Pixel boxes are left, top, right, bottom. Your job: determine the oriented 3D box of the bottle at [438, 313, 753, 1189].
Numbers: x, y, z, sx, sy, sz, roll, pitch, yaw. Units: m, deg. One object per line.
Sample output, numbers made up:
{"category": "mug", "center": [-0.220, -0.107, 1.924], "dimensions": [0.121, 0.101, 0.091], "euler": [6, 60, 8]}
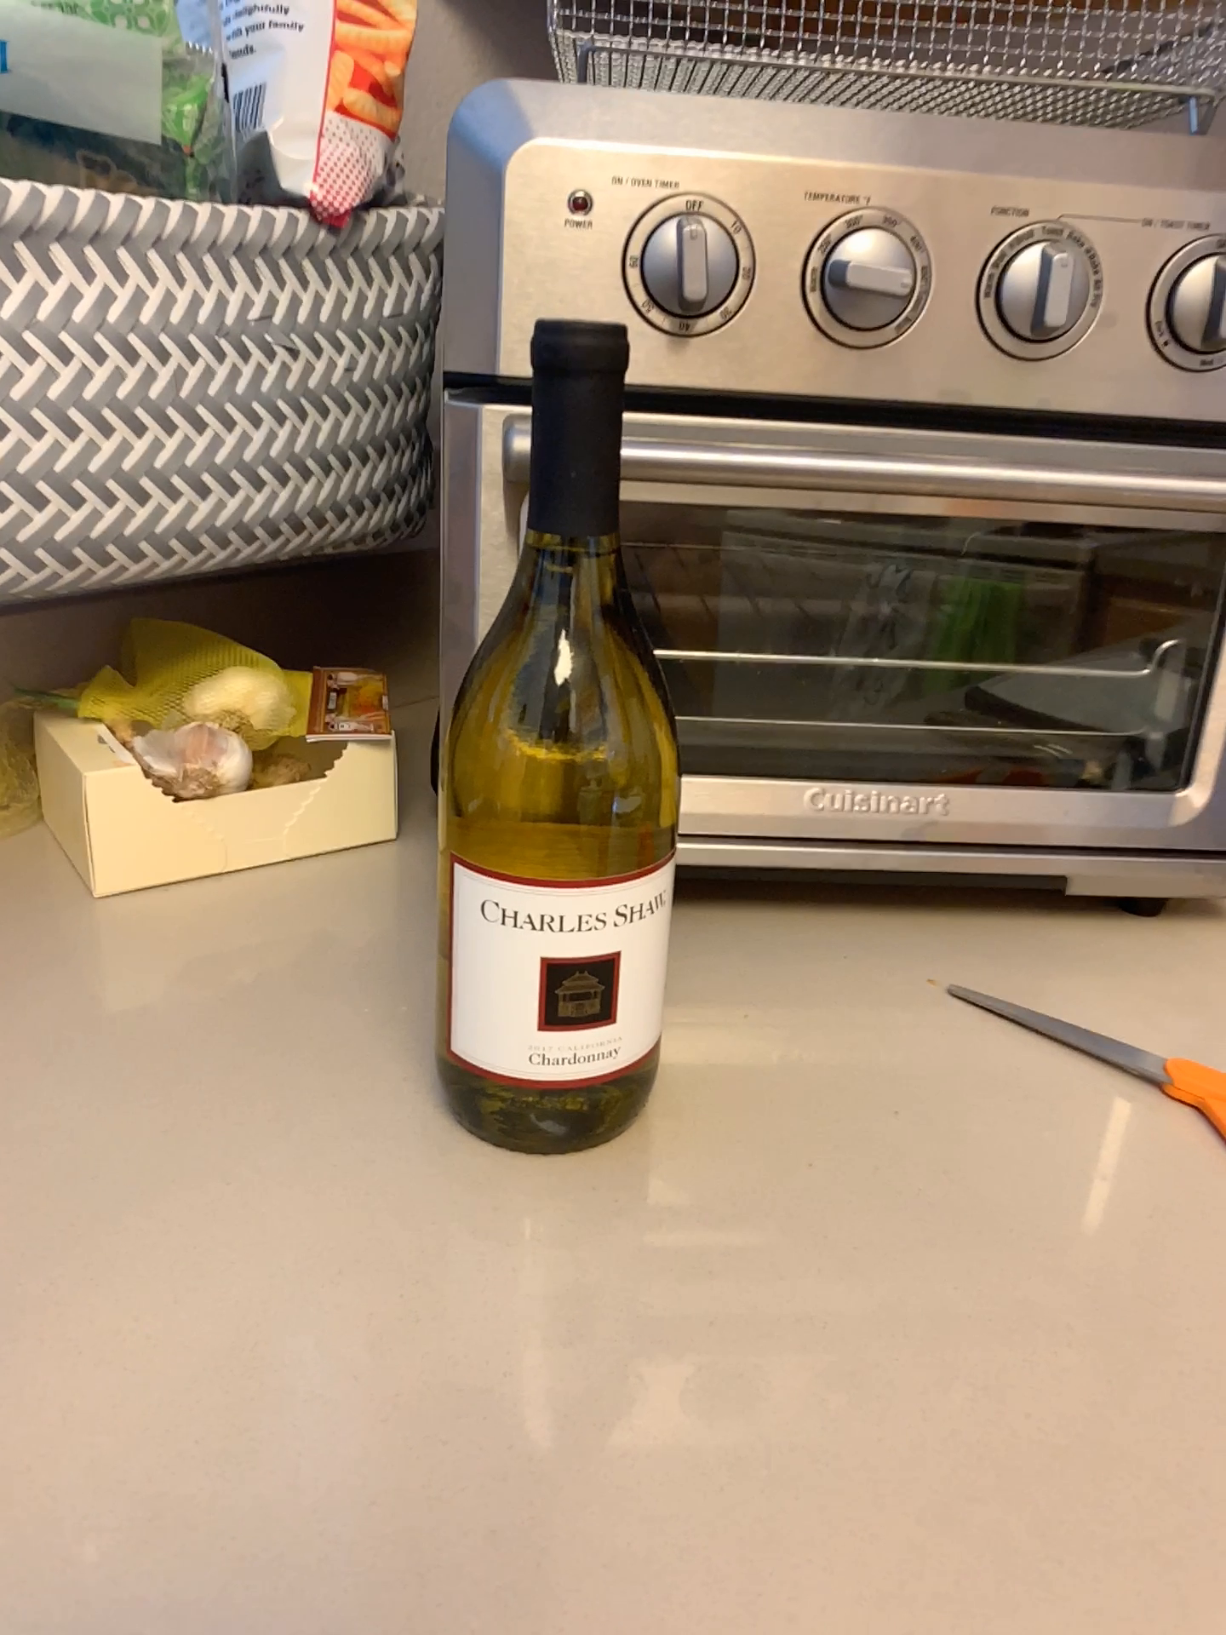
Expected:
{"category": "bottle", "center": [-0.015, -0.015, 0.405], "dimensions": [0.080, 0.269, 0.070], "euler": [0, 21, -8]}
